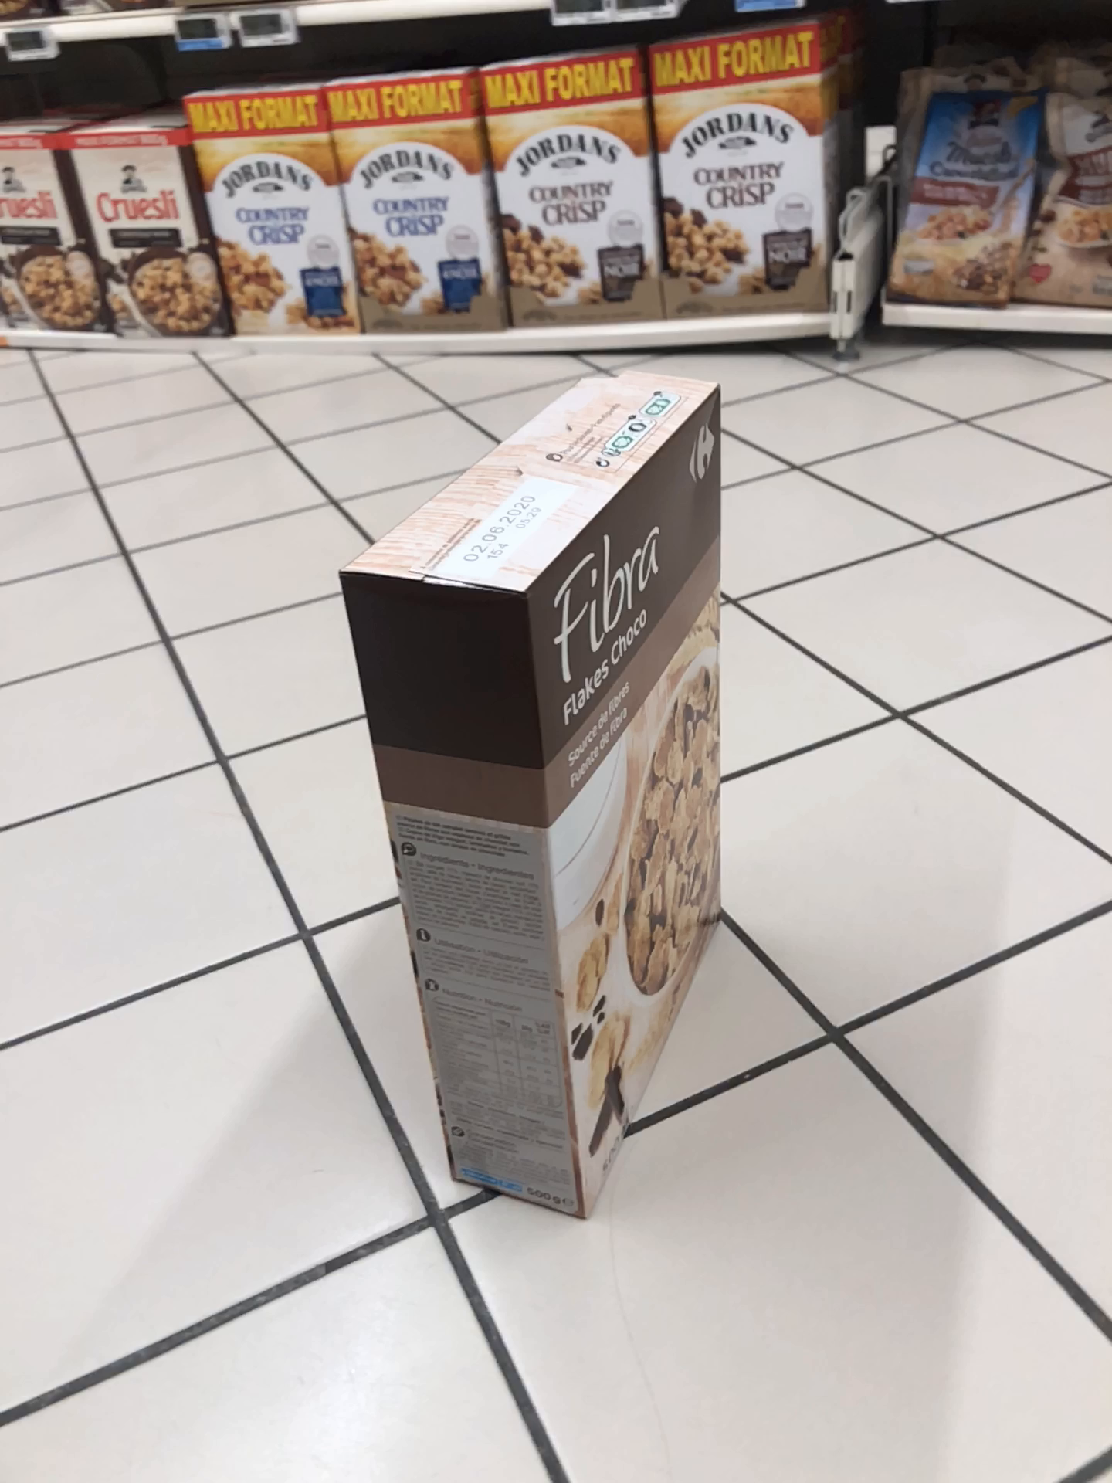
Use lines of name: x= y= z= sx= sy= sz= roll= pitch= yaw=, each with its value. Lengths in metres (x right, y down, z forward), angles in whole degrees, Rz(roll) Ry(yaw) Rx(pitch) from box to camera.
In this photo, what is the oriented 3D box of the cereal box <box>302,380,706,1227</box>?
cereal box: x=0.001 y=0.021 z=0.508 sx=0.070 sy=0.278 sz=0.201 roll=9 pitch=35 yaw=20
